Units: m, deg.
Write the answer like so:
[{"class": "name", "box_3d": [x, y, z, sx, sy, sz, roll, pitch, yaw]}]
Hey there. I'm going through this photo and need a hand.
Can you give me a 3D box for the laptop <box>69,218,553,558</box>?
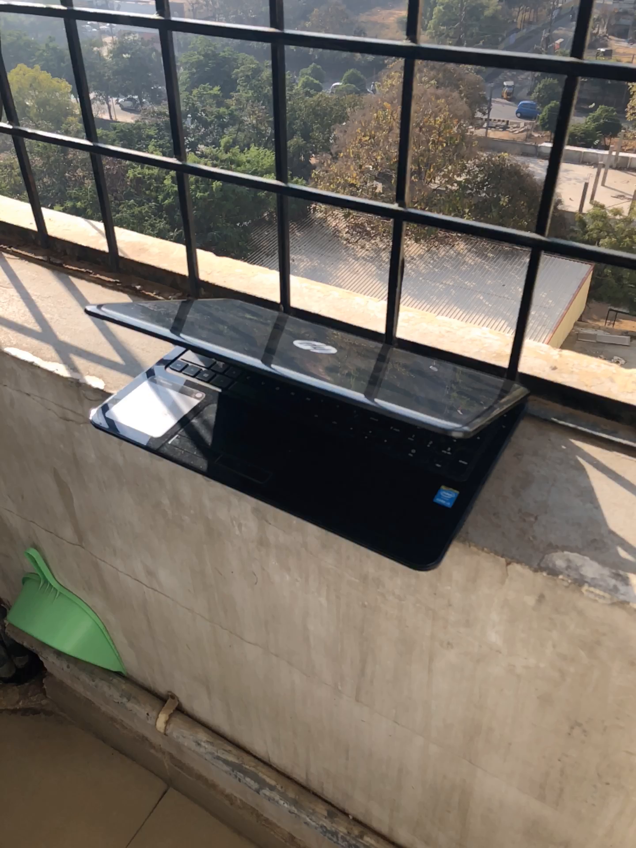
[{"class": "laptop", "box_3d": [-0.002, -0.065, 0.656, 0.364, 0.113, 0.245, 20, 42, 24]}]
